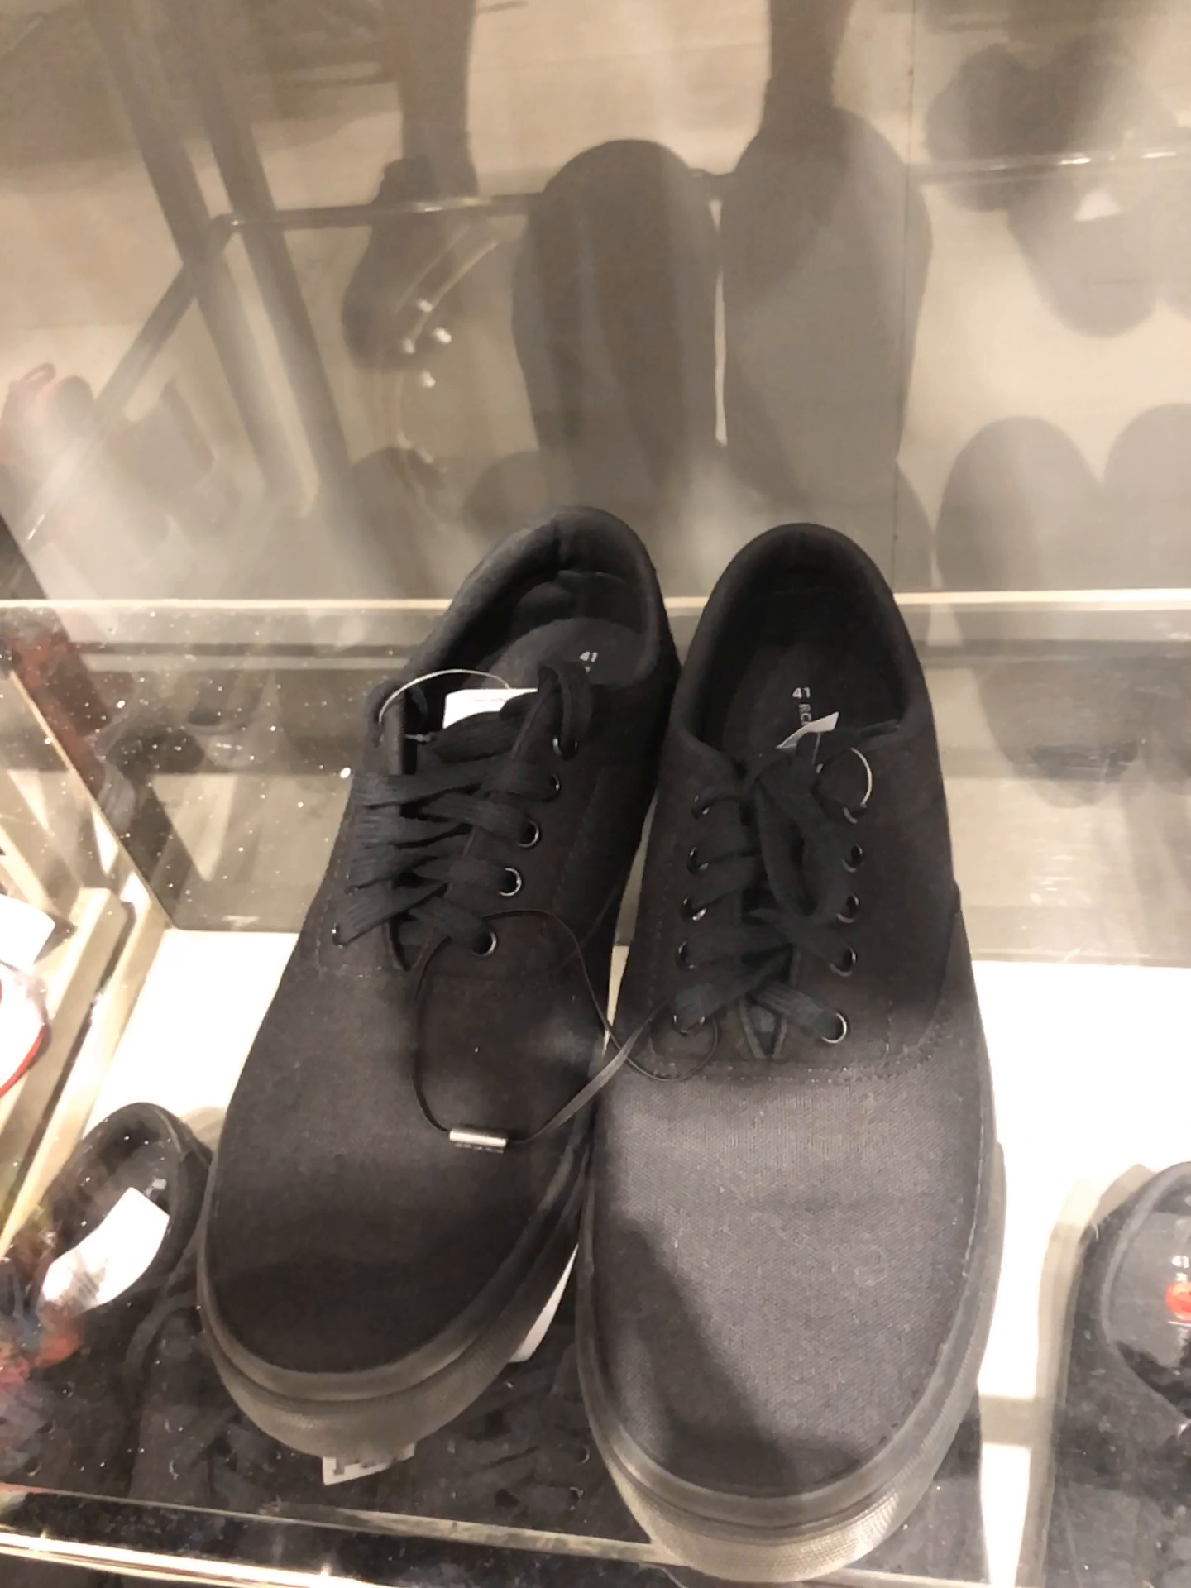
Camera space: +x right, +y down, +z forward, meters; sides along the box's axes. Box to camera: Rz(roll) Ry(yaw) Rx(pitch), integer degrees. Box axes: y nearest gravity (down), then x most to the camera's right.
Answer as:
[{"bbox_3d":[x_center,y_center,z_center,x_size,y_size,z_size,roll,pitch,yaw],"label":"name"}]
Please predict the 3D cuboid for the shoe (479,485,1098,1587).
[{"bbox_3d":[0.061,0.055,0.380,0.110,0.109,0.322,1,49,11],"label":"shoe"}]

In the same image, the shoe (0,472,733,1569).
[{"bbox_3d":[-0.038,0.041,0.417,0.110,0.109,0.322,5,50,14],"label":"shoe"}]
